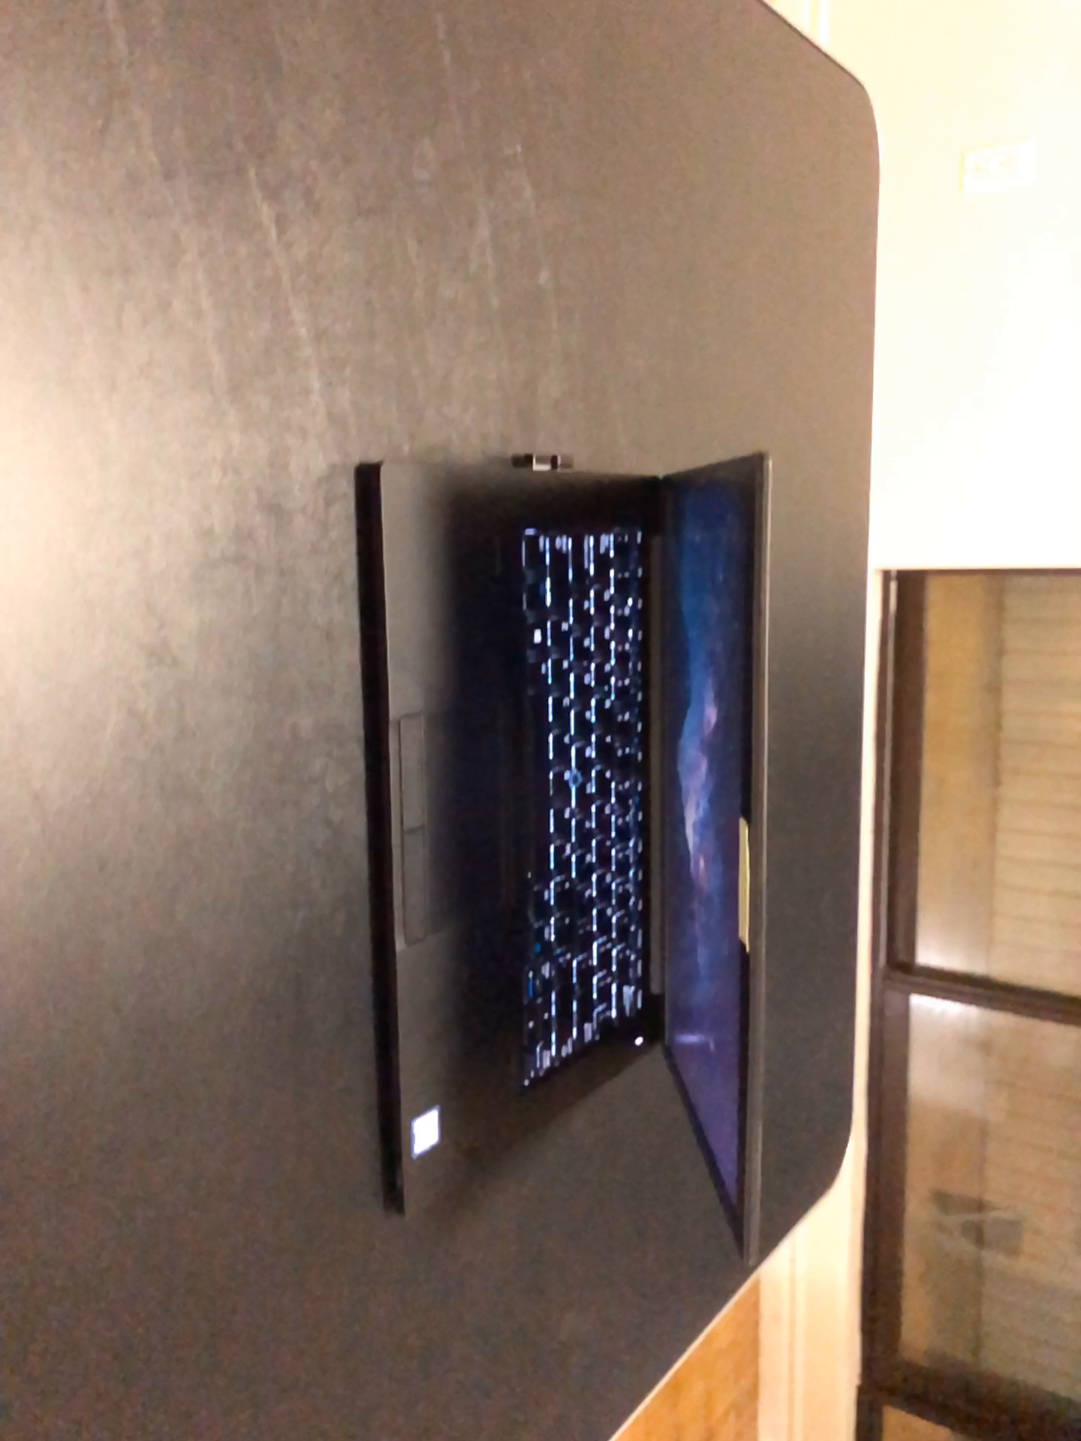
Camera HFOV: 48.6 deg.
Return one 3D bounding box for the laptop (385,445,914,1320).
[{"bbox_3d":[0.062,0.043,0.552,0.221,0.142,0.318,-13,105,-54],"label":"laptop"}]
